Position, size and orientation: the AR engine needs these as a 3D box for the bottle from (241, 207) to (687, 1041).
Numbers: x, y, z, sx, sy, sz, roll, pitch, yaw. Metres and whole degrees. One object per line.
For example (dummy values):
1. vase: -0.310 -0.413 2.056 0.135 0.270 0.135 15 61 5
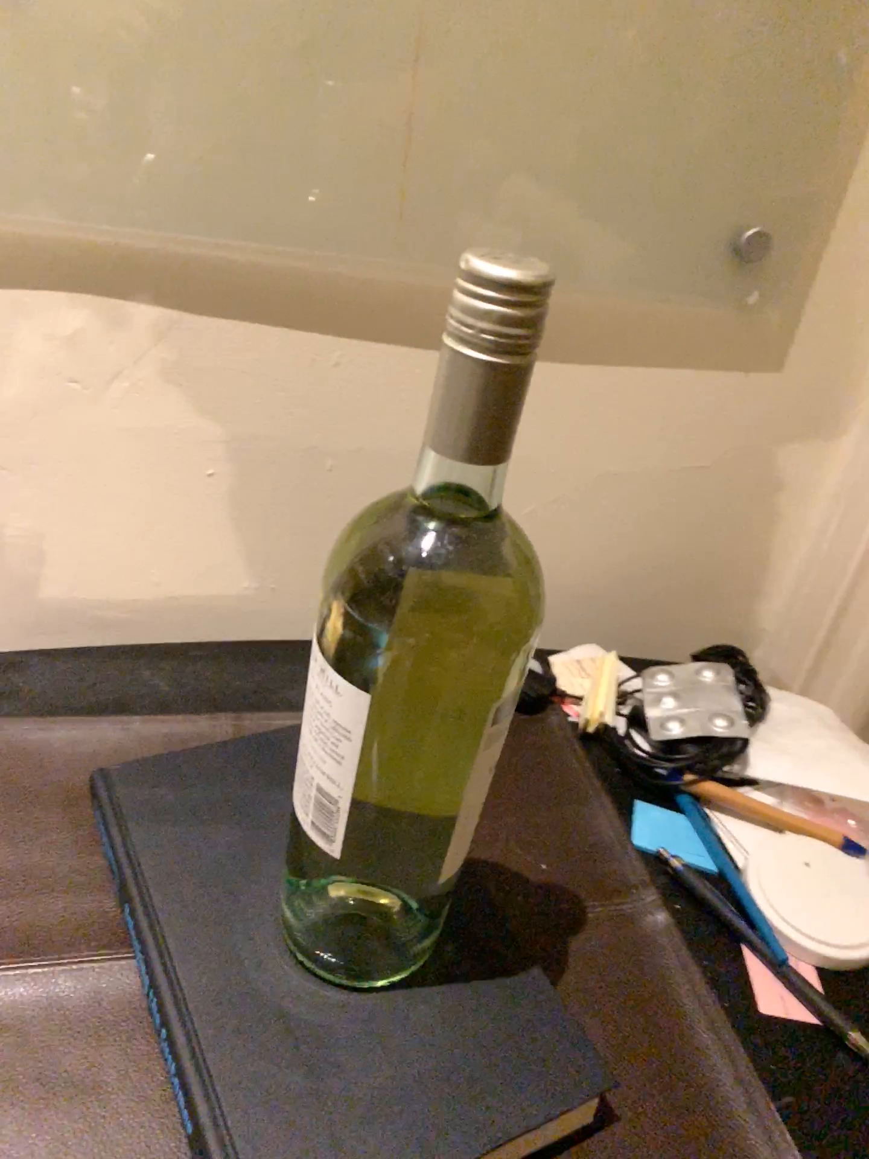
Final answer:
1. bottle: -0.013 0.034 0.334 0.090 0.298 0.091 8 31 -5
